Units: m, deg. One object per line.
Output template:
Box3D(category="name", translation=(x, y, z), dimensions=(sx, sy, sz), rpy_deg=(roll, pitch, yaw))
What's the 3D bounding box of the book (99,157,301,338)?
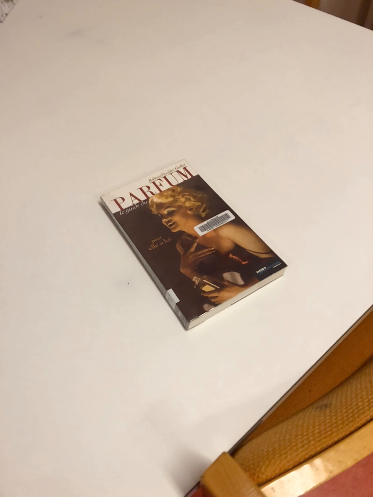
Box3D(category="book", translation=(0.007, -0.016, 0.472), dimensions=(0.133, 0.020, 0.211), rpy_deg=(-28, 56, -18))
